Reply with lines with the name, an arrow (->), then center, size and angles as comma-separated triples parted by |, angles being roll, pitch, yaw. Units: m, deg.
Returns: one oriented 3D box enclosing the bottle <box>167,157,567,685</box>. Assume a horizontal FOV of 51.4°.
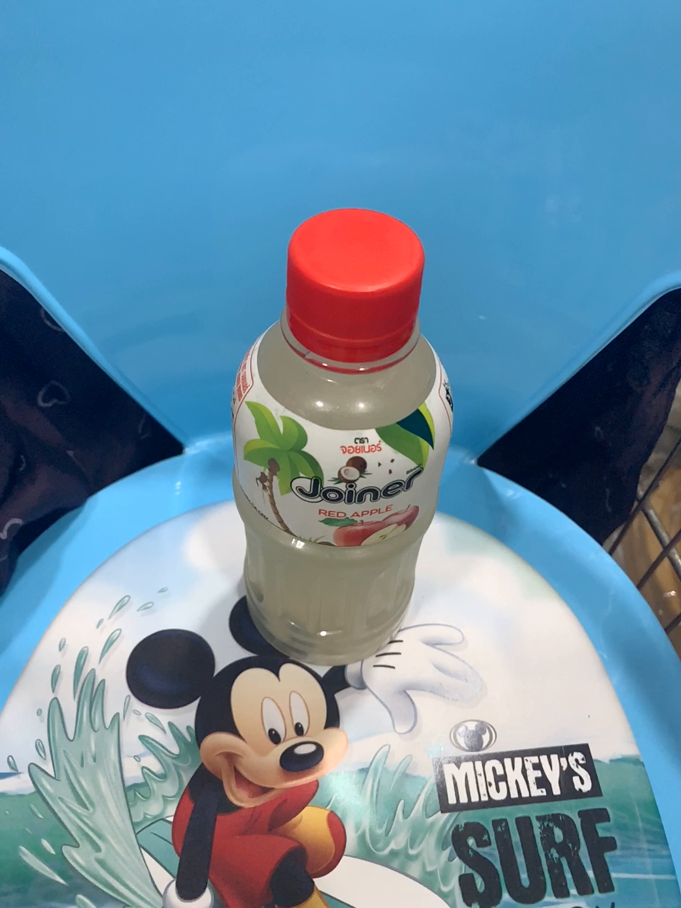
bottle -> 0.002, 0.004, 0.199 | 0.070, 0.150, 0.060 | -1, 49, -3
